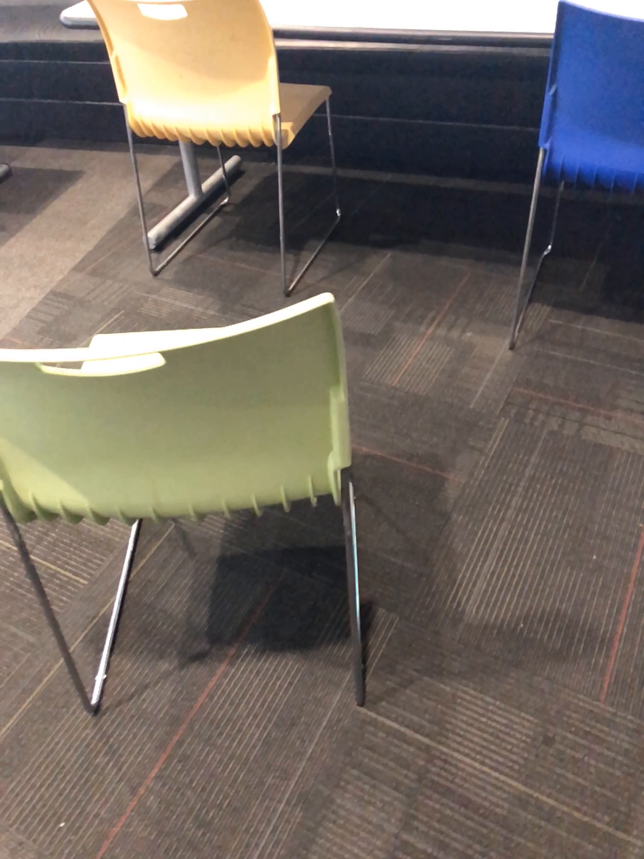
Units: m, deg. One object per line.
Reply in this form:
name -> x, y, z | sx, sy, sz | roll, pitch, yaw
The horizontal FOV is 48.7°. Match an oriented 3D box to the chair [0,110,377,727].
chair -> -0.206, 0.016, 1.097 | 0.540, 0.756, 0.543 | -3, 43, 3
